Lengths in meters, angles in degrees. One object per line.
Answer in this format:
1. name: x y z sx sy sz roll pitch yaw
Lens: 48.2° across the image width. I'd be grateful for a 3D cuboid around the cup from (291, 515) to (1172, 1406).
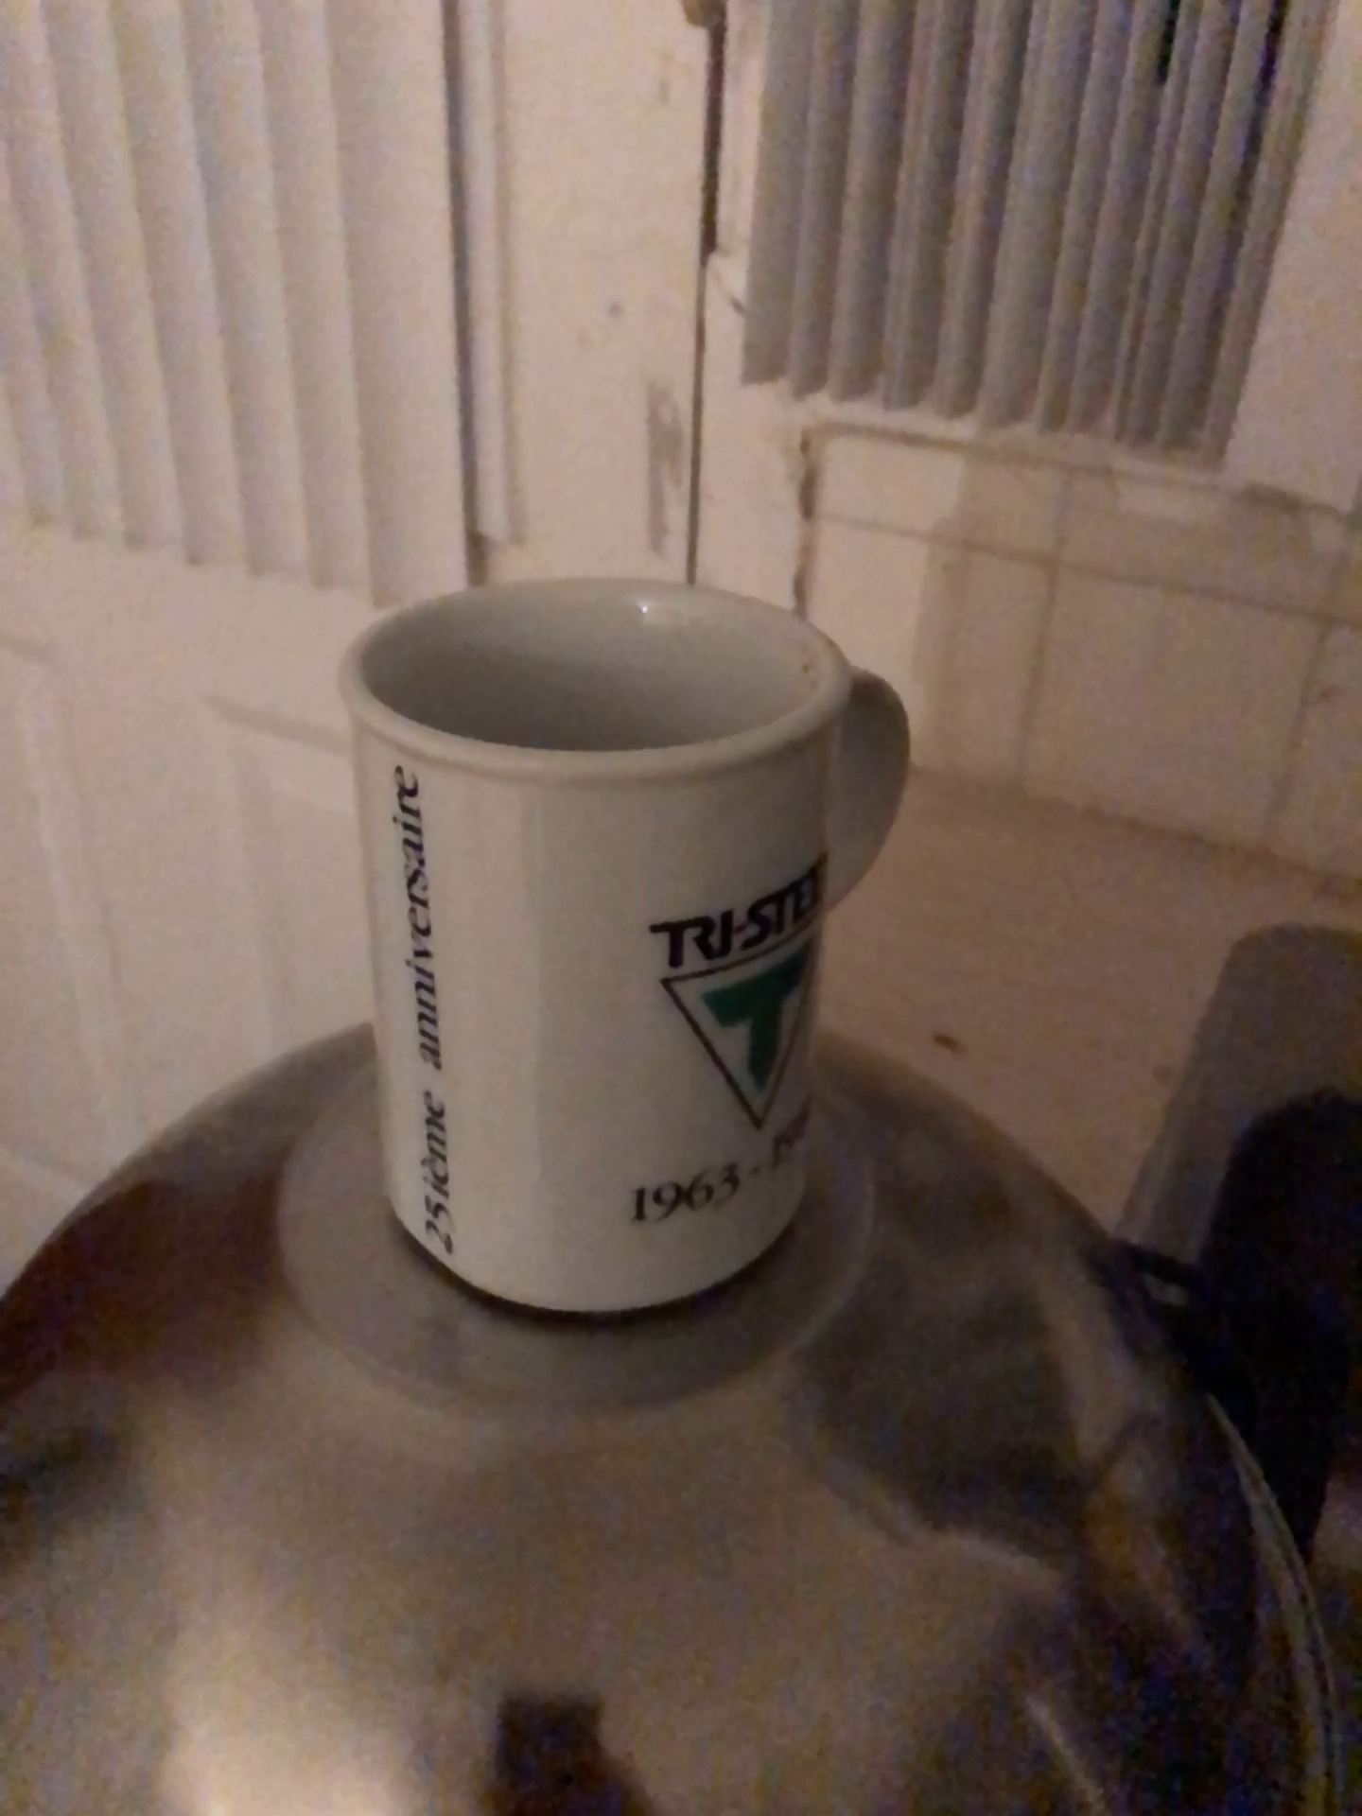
1. cup: 0.008 0.001 0.258 0.116 0.099 0.070 -19 37 -31
